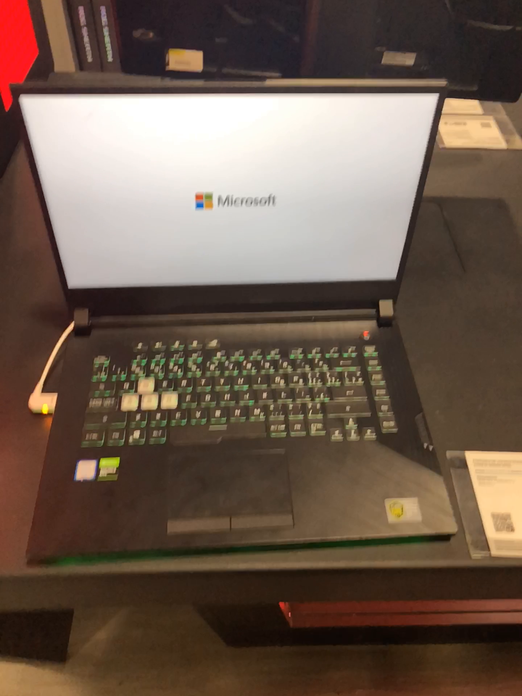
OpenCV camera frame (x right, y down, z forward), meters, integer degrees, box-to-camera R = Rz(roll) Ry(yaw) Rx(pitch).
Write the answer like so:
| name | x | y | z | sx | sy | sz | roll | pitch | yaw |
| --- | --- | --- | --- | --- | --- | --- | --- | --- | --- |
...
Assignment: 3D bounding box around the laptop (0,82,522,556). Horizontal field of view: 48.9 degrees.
| name | x | y | z | sx | sy | sz | roll | pitch | yaw |
| --- | --- | --- | --- | --- | --- | --- | --- | --- | --- |
| laptop | -0.016 | -0.023 | 0.480 | 0.360 | 0.268 | 0.276 | -2 | 50 | -5 |
